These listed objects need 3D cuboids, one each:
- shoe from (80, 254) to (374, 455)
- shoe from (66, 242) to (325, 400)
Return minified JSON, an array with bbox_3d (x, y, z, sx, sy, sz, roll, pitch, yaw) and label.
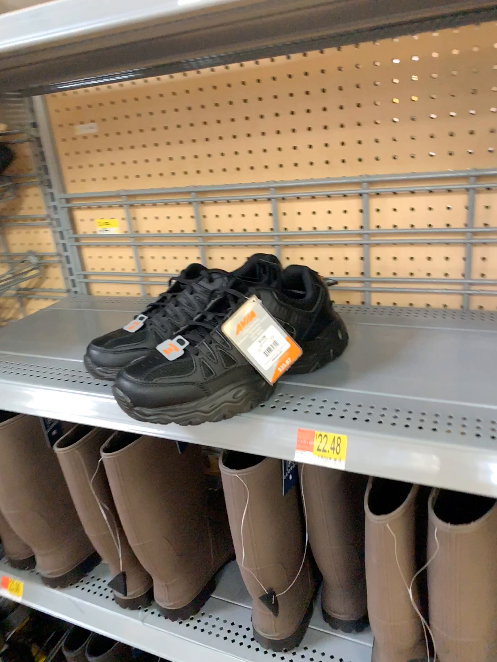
[{"bbox_3d":[-0.012,0.005,0.571,0.297,0.104,0.135,-20,25,-31],"label":"shoe"},{"bbox_3d":[-0.064,-0.029,0.666,0.296,0.104,0.139,-16,23,-24],"label":"shoe"}]
